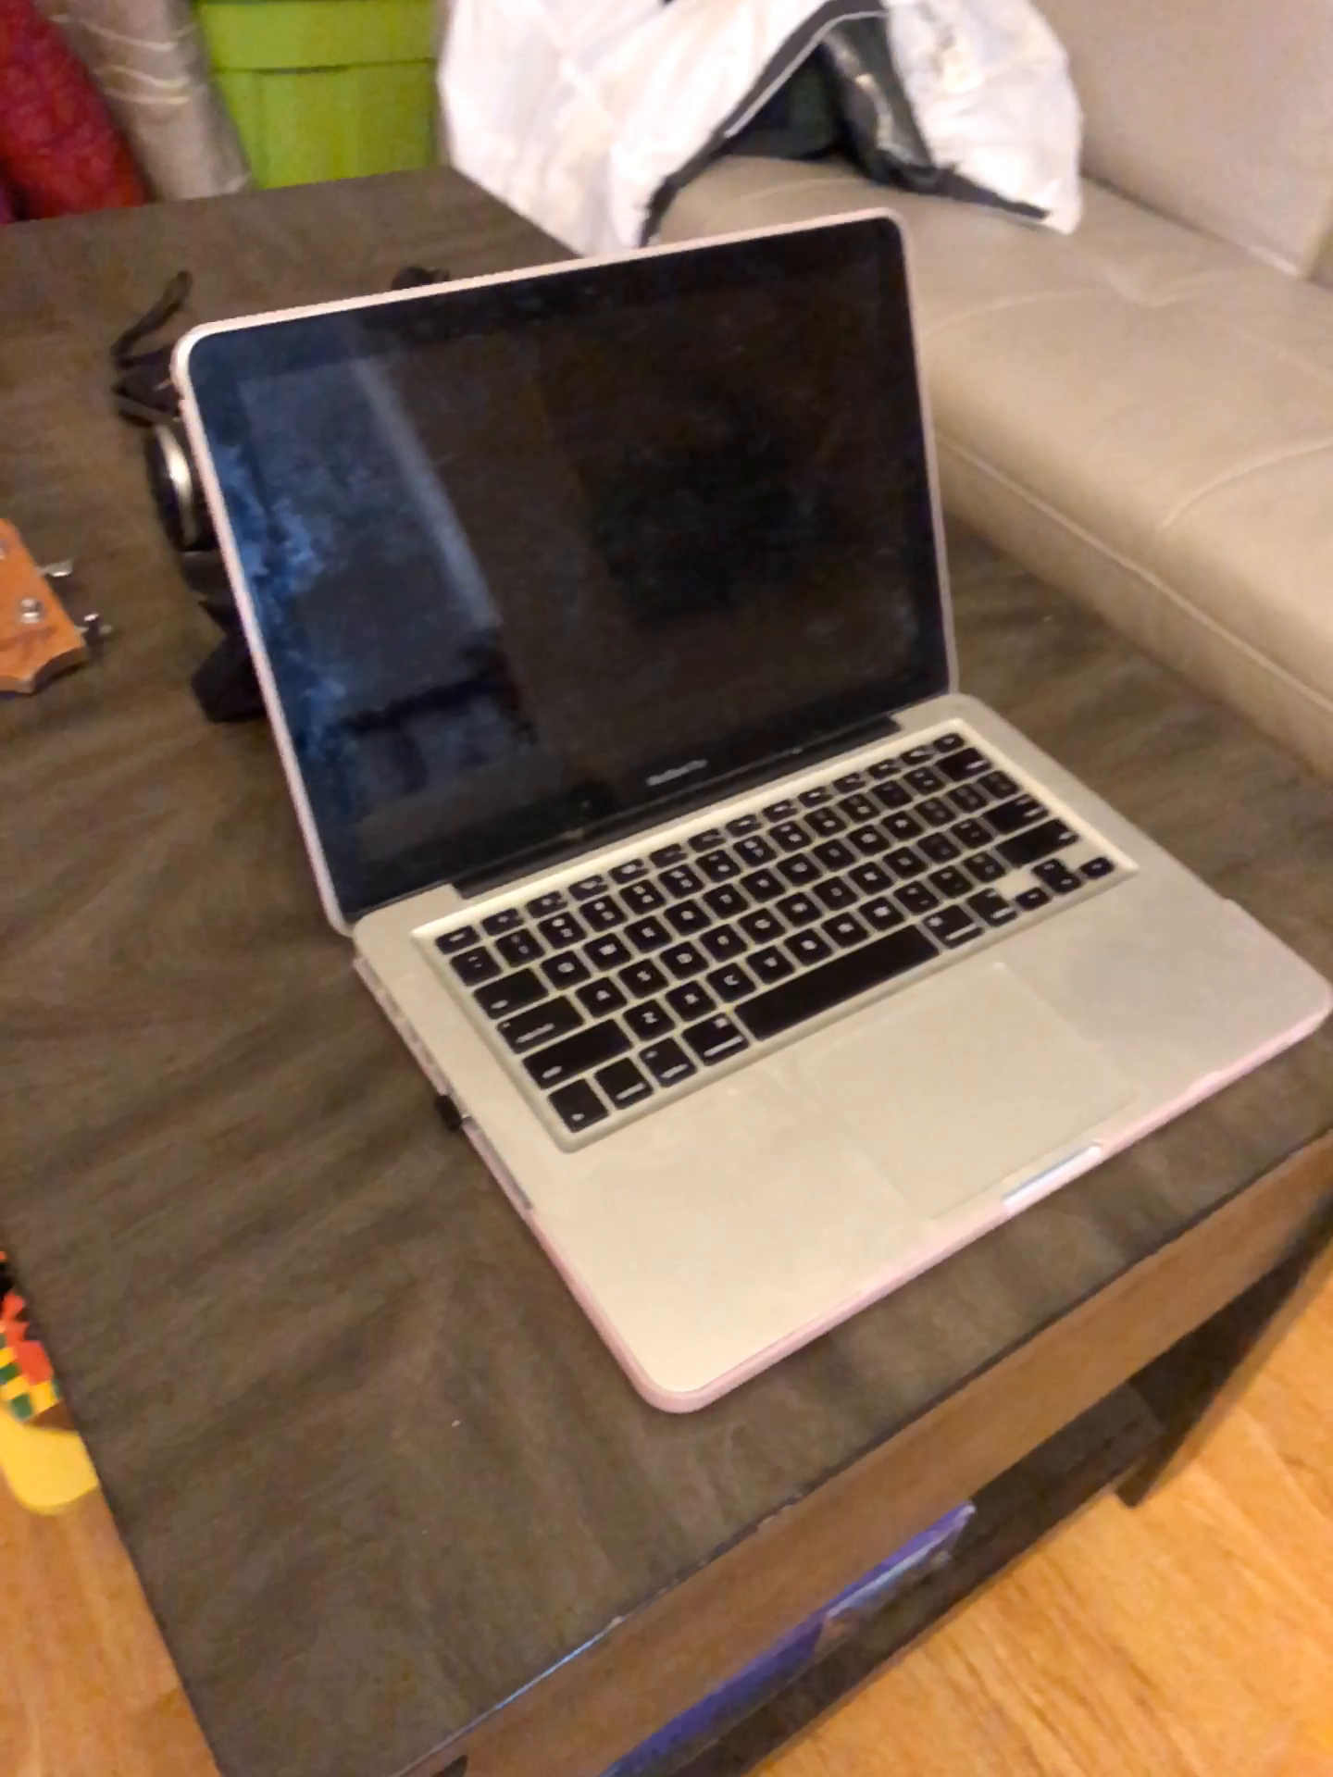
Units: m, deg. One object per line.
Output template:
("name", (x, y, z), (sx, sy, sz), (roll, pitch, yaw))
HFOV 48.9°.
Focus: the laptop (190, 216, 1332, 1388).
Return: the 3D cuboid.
("laptop", (0.050, -0.070, 0.534), (0.312, 0.185, 0.322), (-23, 51, -26))
